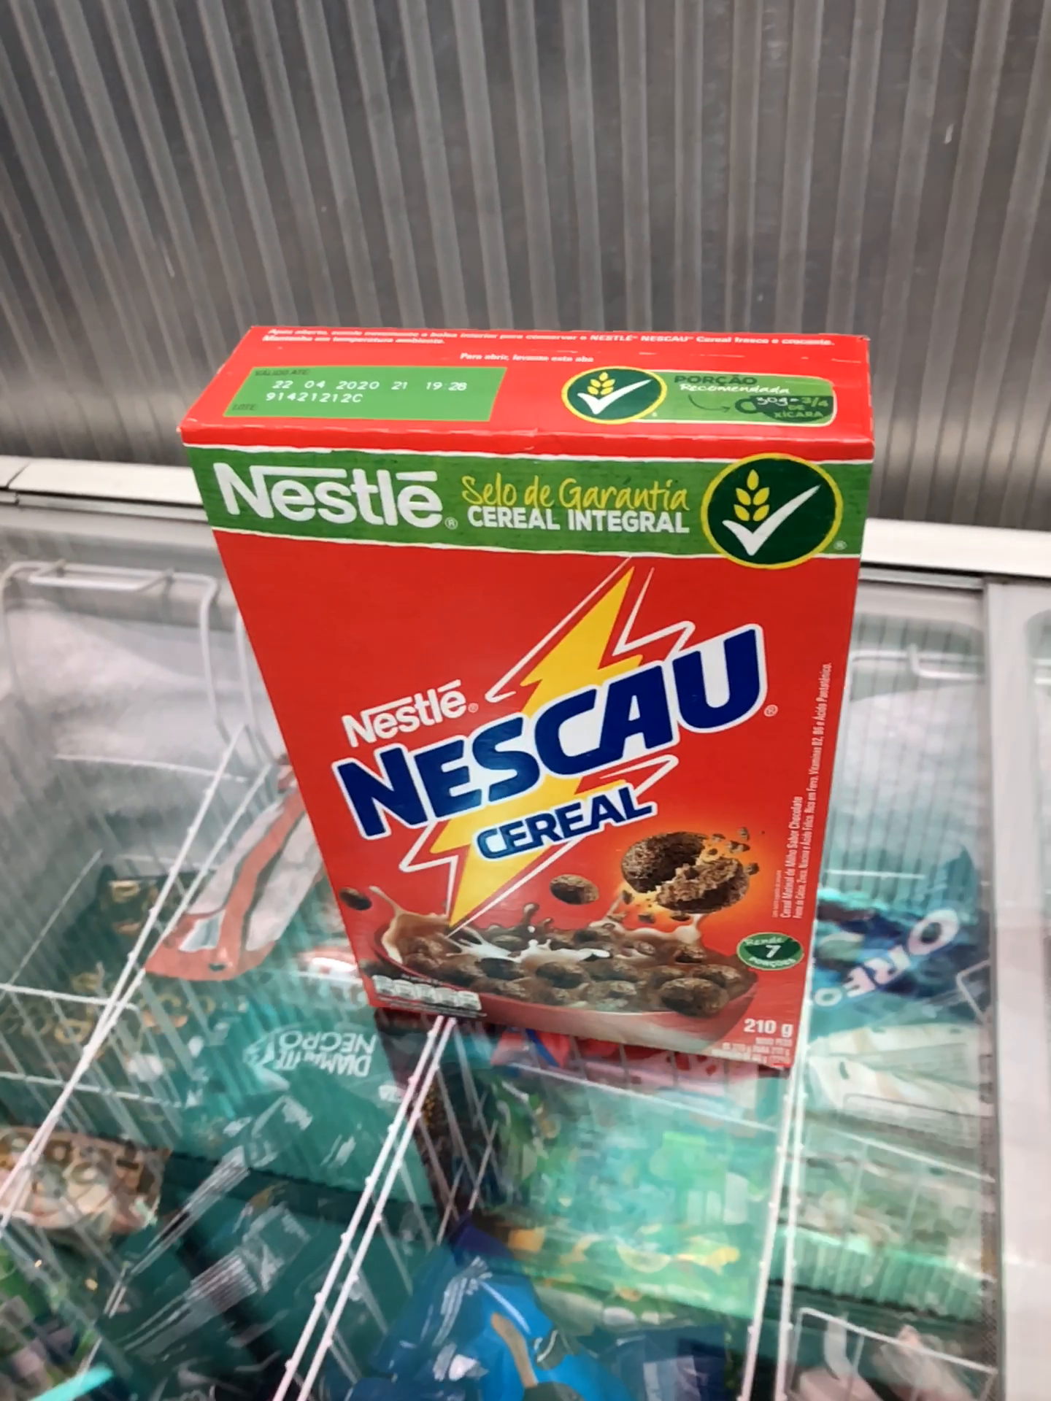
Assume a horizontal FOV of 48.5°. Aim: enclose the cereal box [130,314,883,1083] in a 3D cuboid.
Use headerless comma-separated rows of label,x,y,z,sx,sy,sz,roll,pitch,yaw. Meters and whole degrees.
cereal box,0.007,0.016,0.362,0.170,0.258,0.050,6,45,13
